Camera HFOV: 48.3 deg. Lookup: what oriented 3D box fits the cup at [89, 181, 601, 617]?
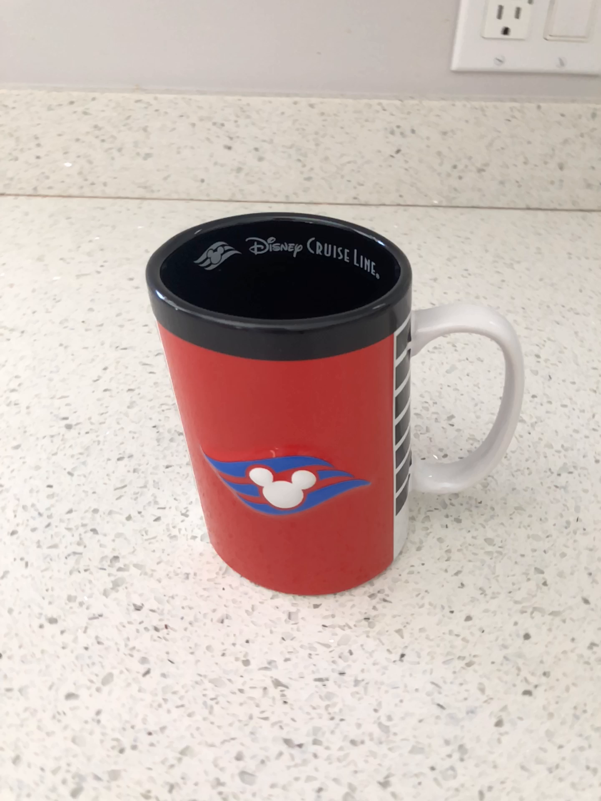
[{"bbox_3d":[0.015,-0.004,0.236,0.130,0.110,0.090,6,37,6],"label":"cup"}]
